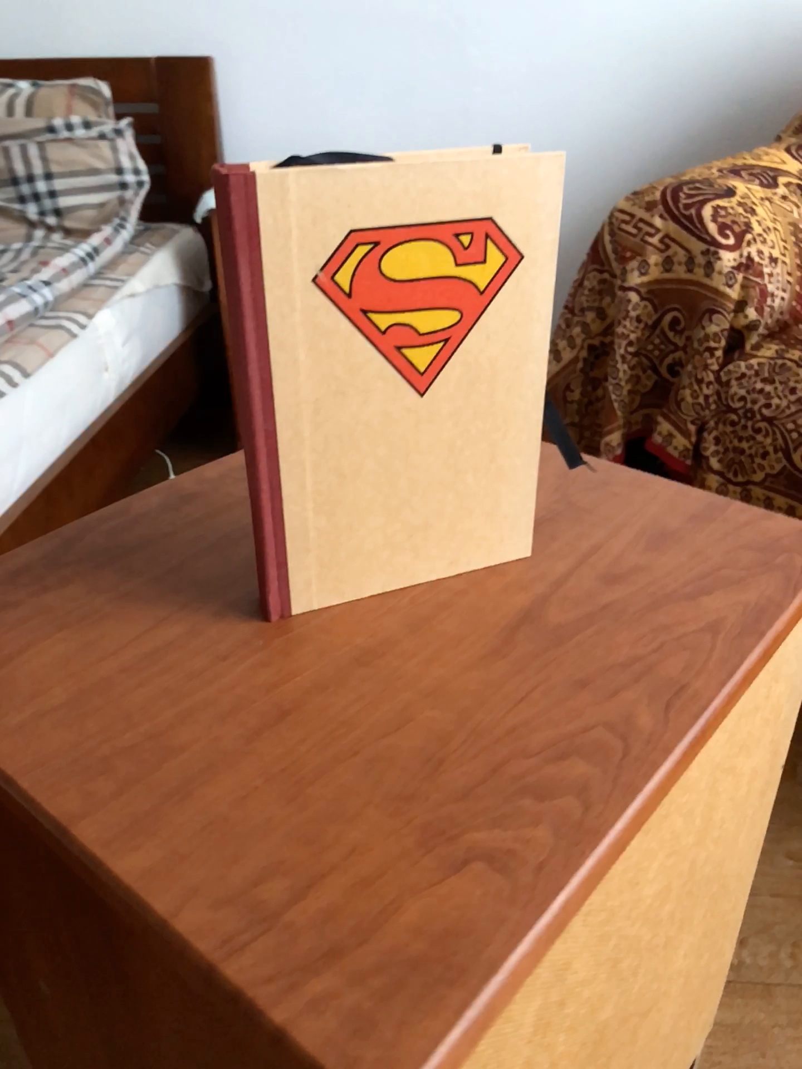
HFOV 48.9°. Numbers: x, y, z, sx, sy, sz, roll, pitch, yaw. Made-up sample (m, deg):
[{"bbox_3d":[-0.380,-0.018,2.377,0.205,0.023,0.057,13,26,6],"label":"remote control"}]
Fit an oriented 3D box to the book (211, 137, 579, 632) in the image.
[{"bbox_3d":[0.002,-0.068,0.421,0.154,0.212,0.032,-13,32,-21],"label":"book"}]
